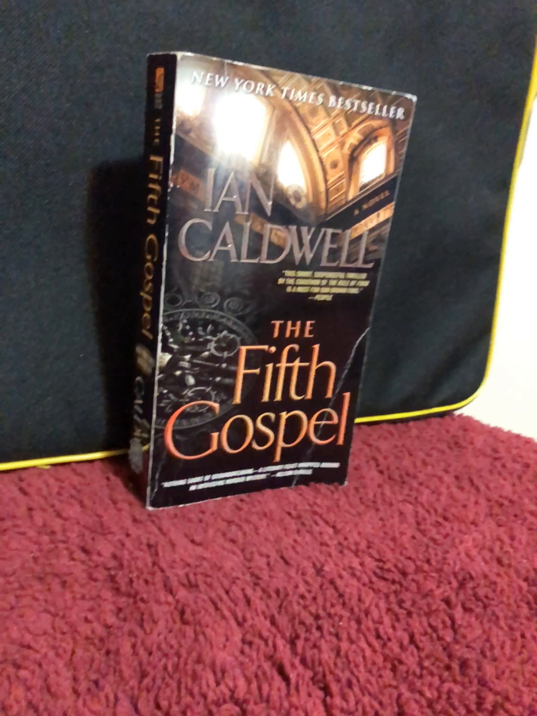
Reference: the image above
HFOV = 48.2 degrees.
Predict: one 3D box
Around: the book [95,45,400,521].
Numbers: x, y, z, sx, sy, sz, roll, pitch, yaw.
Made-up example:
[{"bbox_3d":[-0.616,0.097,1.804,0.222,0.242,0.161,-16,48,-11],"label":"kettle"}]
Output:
[{"bbox_3d":[-0.018,-0.028,0.292,0.120,0.199,0.050,0,18,-21],"label":"book"}]
